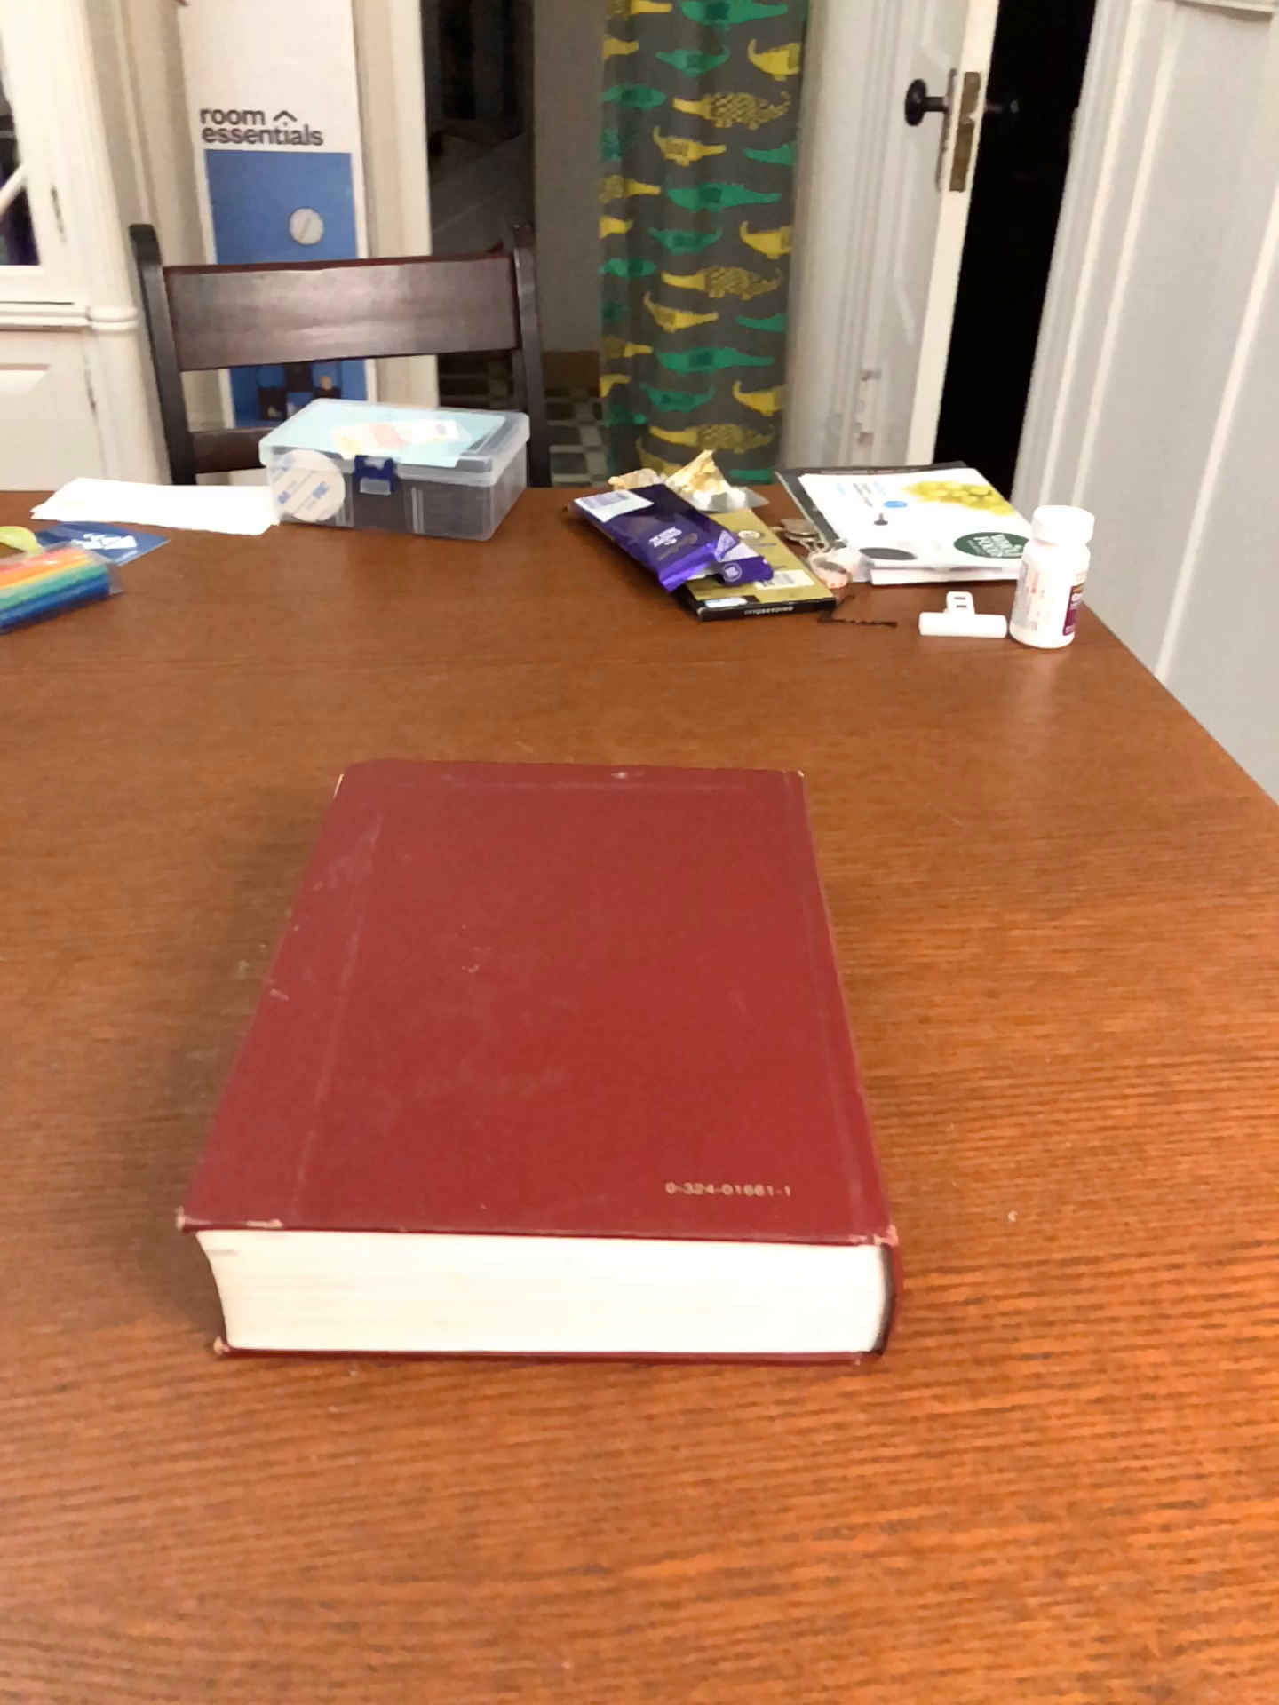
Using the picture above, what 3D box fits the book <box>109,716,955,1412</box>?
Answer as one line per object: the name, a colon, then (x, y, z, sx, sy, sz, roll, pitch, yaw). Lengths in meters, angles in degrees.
book: (-0.029, 0.051, 0.508, 0.220, 0.070, 0.292, 2, 32, -1)
